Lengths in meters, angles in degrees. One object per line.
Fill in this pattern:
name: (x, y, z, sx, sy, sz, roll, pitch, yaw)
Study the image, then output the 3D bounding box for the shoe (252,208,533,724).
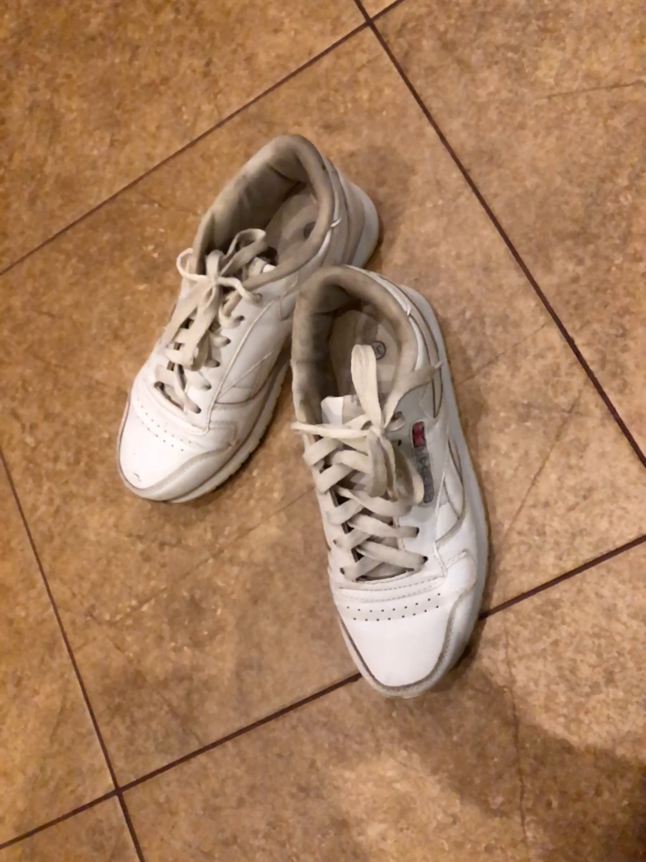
shoe: (0.041, 0.022, 0.412, 0.110, 0.100, 0.250, -10, 78, 16)

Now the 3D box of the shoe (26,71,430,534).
shoe: (-0.054, -0.071, 0.460, 0.100, 0.100, 0.260, 35, 93, 19)
